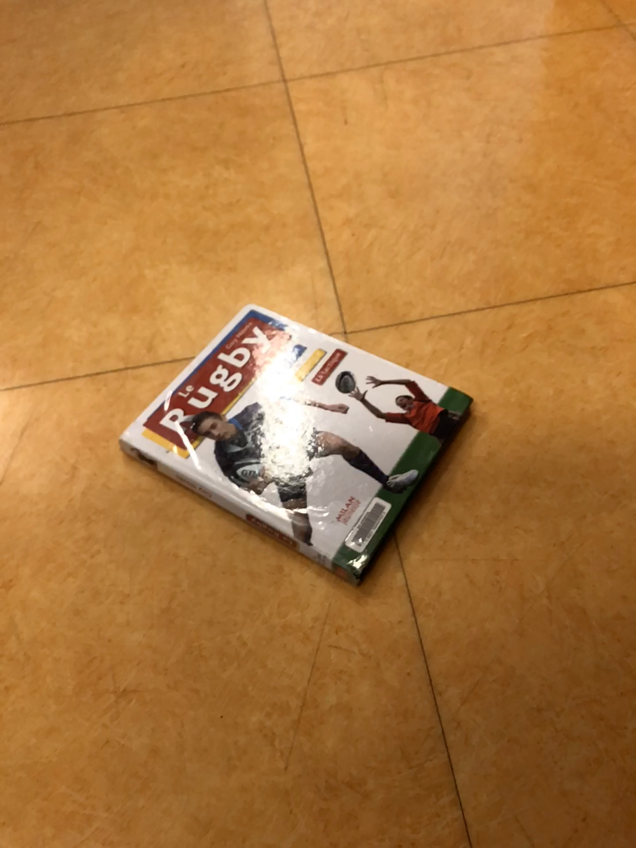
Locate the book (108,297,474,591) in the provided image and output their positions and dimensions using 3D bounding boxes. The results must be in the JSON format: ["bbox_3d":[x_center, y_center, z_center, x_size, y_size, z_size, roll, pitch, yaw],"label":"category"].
[{"bbox_3d":[-0.023,0.000,0.637,0.260,0.024,0.204,26,60,22],"label":"book"}]
